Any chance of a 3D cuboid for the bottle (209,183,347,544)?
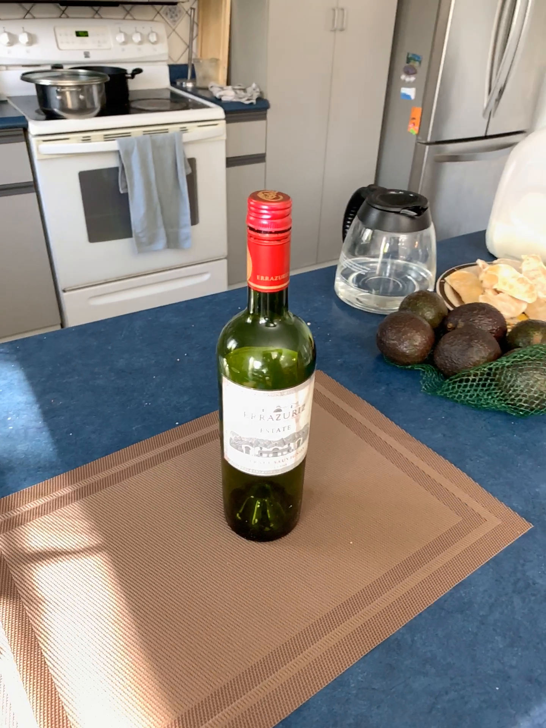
[{"bbox_3d":[-0.005,0.012,0.434,0.080,0.277,0.081,2,33,-1],"label":"bottle"}]
